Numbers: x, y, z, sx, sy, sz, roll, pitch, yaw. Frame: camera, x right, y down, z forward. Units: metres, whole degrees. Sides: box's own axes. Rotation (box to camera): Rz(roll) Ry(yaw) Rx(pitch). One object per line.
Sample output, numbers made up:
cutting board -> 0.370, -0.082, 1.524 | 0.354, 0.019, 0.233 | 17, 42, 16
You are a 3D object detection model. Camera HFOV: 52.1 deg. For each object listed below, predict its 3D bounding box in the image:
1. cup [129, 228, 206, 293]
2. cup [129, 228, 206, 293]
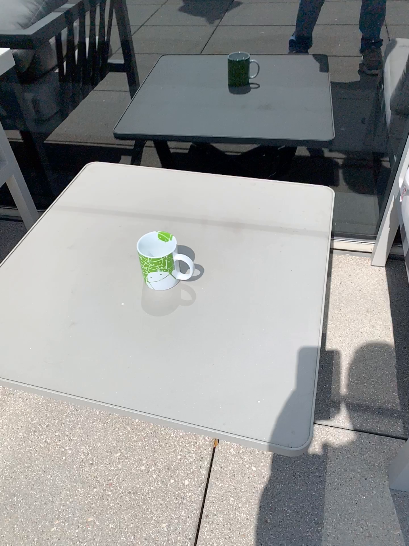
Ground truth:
cup -> -0.069, -0.025, 0.833 | 0.130, 0.090, 0.080 | 4, 47, 9
cup -> -0.069, -0.025, 0.833 | 0.130, 0.090, 0.080 | 4, 47, 9
